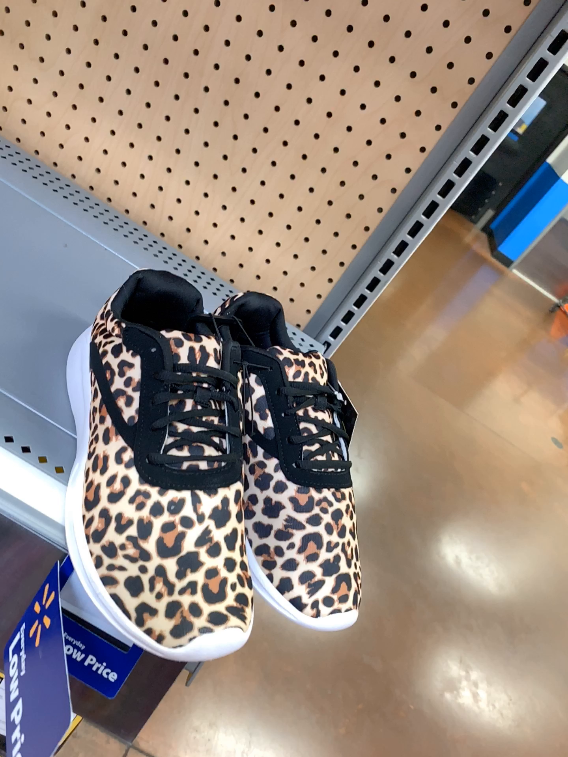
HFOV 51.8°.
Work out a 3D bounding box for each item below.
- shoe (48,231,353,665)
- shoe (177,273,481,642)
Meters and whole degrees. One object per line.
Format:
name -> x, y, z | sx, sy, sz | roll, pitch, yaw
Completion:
shoe -> -0.070, 0.030, 0.367 | 0.120, 0.091, 0.241 | 11, 41, -33
shoe -> 0.017, 0.045, 0.430 | 0.110, 0.091, 0.241 | 8, 43, -36
